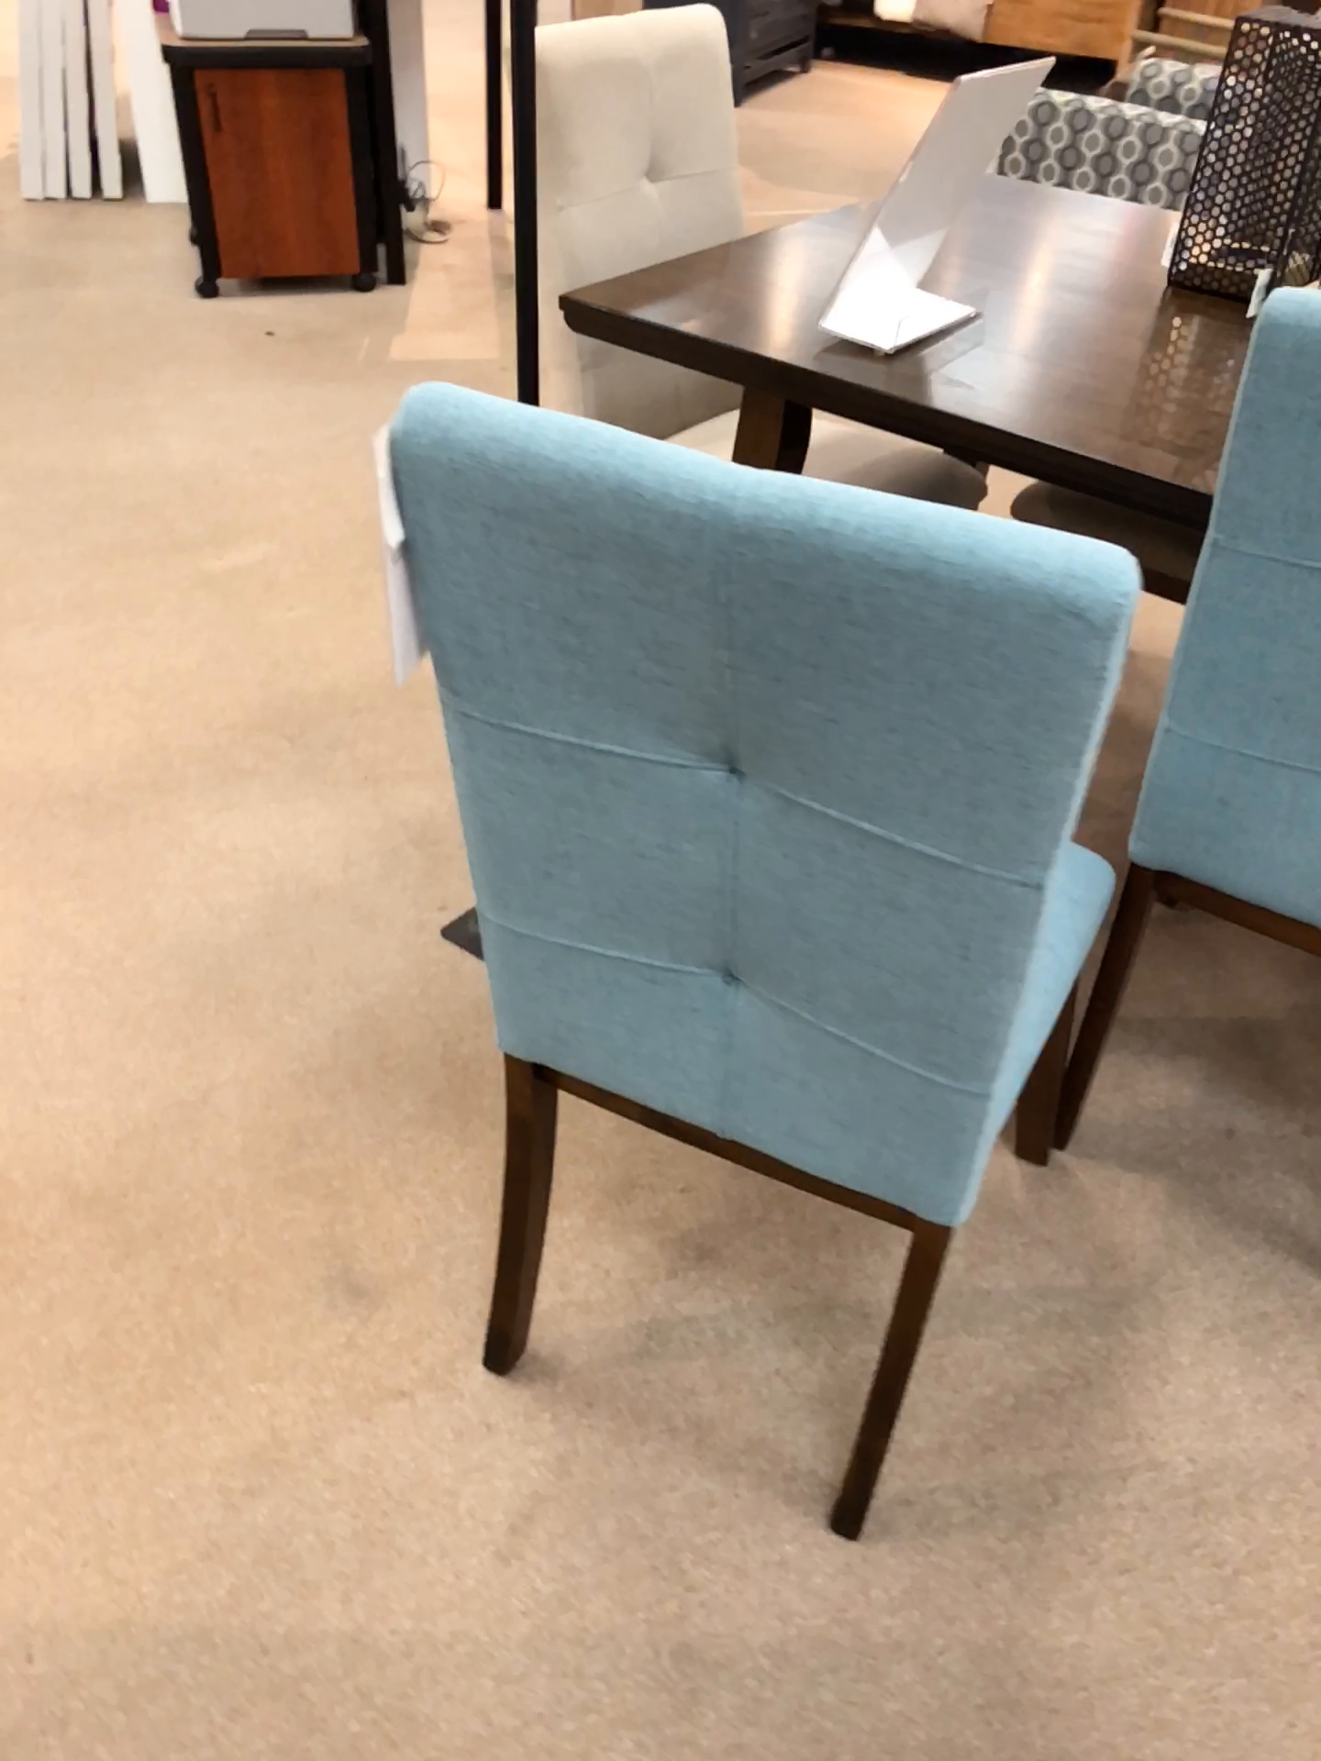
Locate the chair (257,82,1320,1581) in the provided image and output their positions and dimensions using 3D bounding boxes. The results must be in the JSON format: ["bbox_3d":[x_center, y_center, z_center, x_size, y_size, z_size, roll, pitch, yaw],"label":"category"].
[{"bbox_3d":[0.142,-0.036,1.239,0.541,0.993,0.623,19,43,19],"label":"chair"}]
